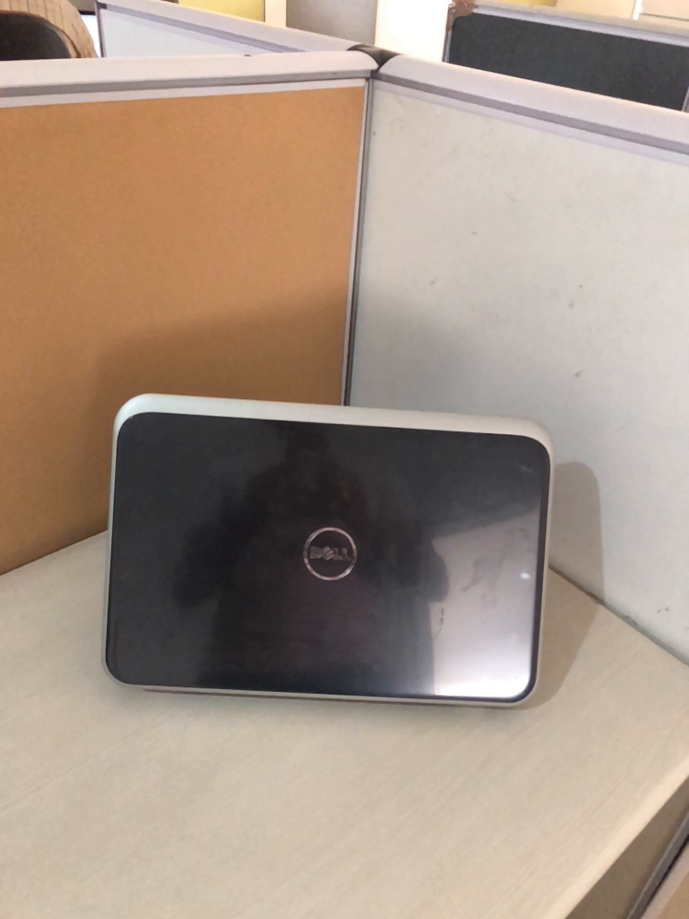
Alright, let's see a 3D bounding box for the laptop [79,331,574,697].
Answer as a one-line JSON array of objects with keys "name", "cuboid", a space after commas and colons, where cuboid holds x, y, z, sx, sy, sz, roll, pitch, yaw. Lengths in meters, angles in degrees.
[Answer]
[{"name": "laptop", "cuboid": [-0.012, 0.041, 0.679, 0.347, 0.192, 0.241, 4, 35, -3]}]
